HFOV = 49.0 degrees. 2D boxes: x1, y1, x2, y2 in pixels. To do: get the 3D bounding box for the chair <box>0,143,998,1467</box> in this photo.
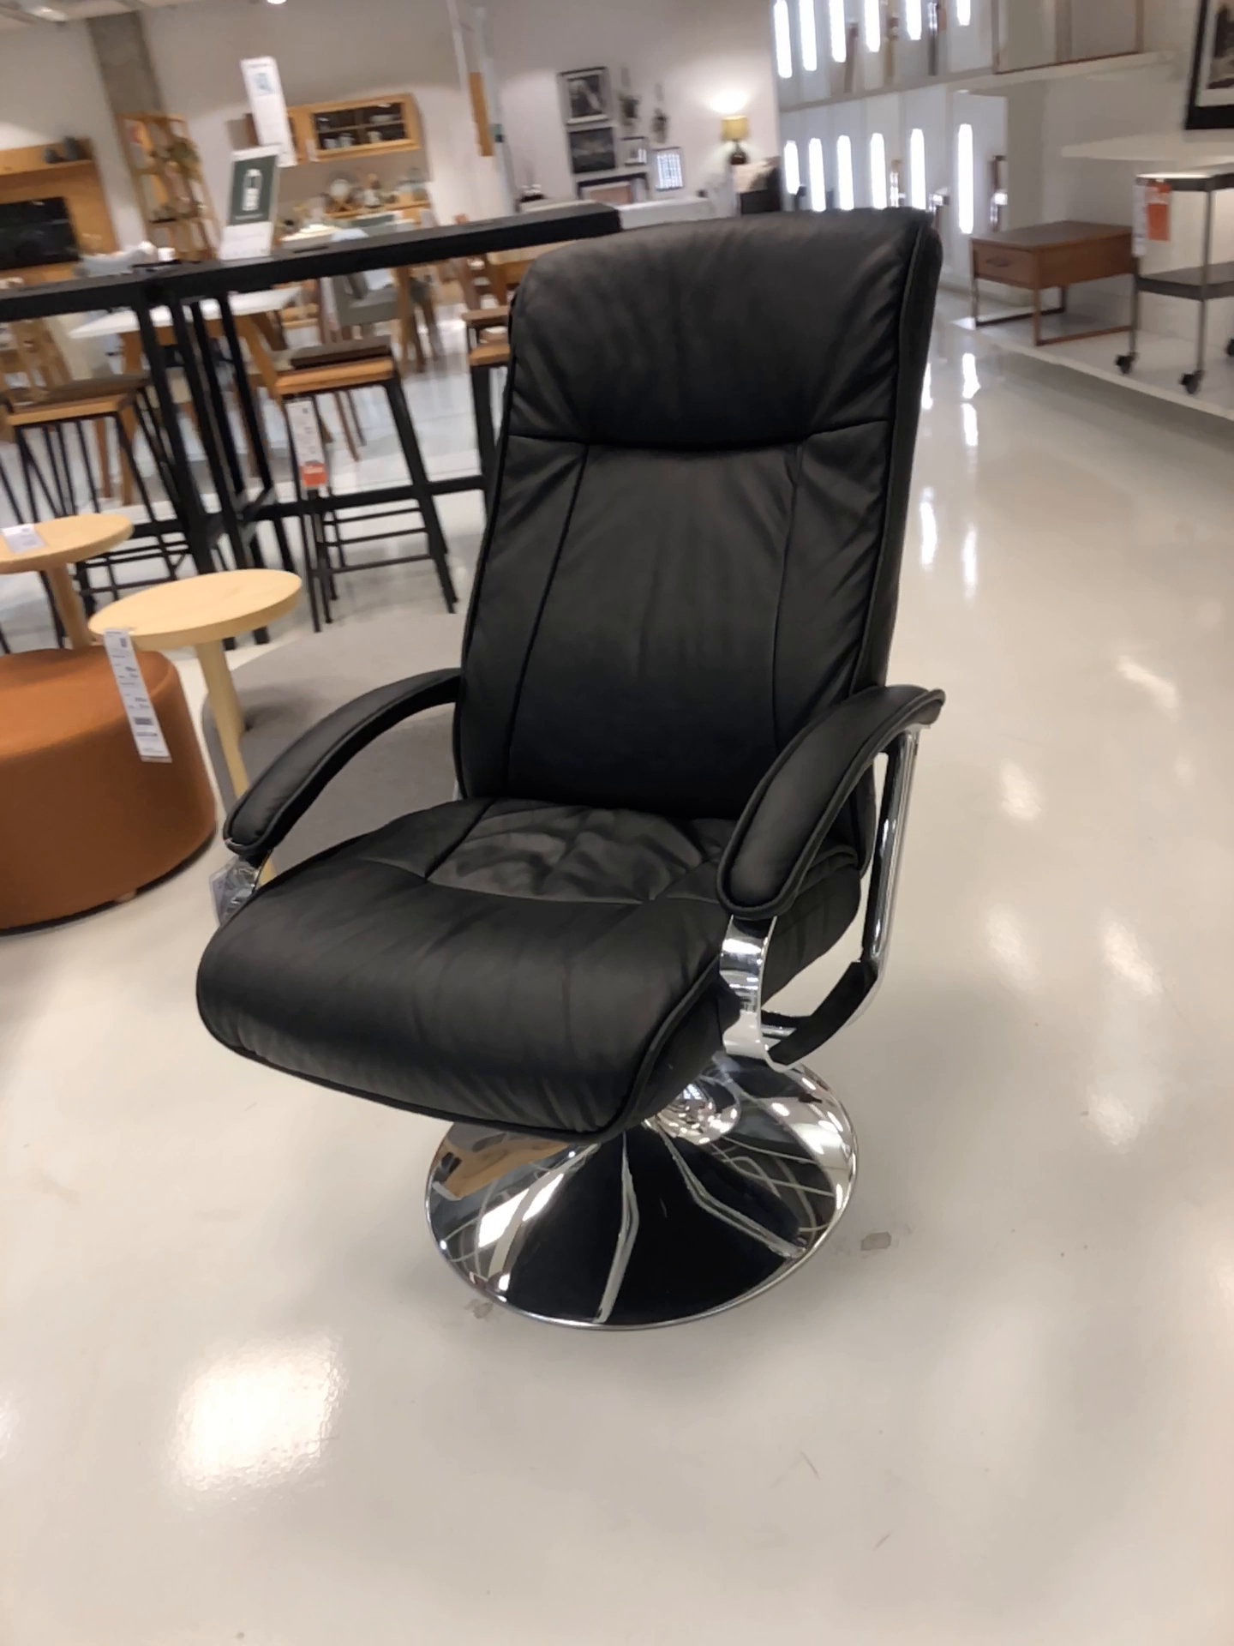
[{"bbox_3d":[-0.020,-0.066,1.523,0.751,1.132,0.725,4,28,24],"label":"chair"}]
